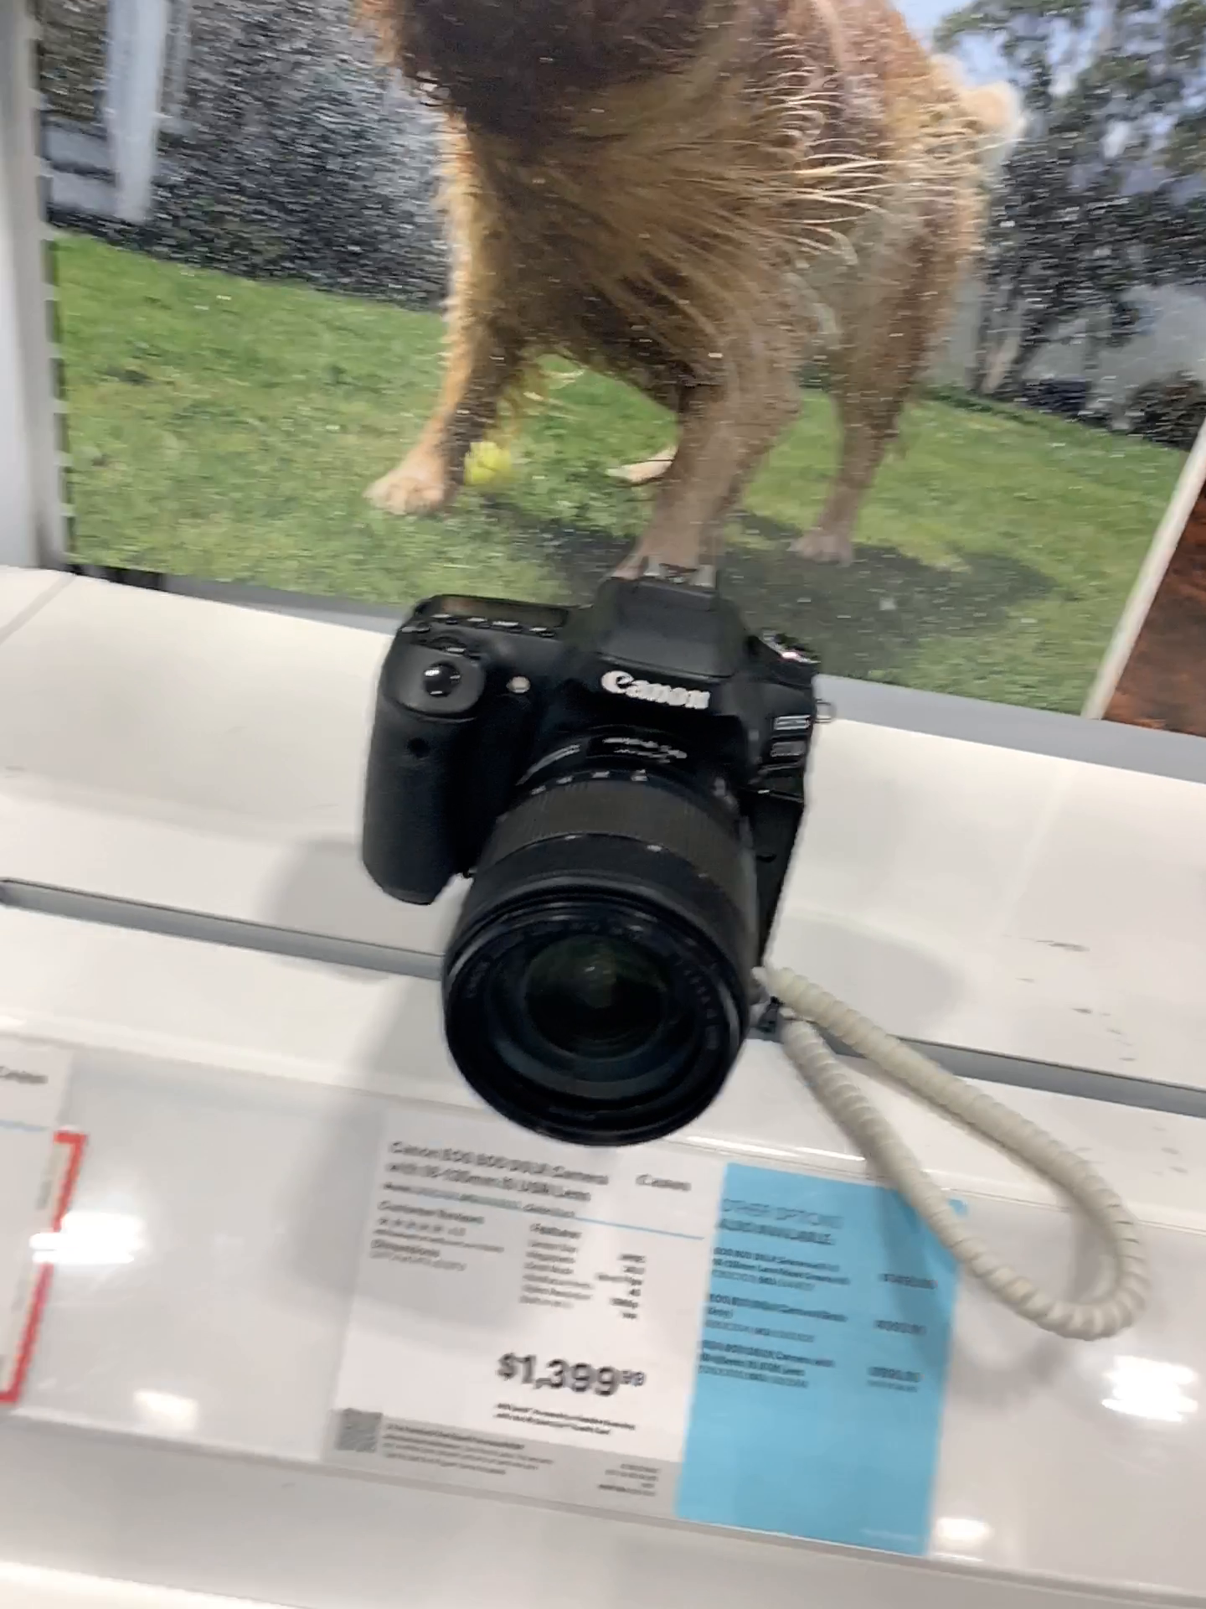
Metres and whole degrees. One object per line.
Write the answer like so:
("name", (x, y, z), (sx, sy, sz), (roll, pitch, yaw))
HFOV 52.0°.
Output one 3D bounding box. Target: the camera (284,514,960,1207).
("camera", (0.003, 0.005, 0.349), (0.140, 0.099, 0.161), (9, 33, -1))
